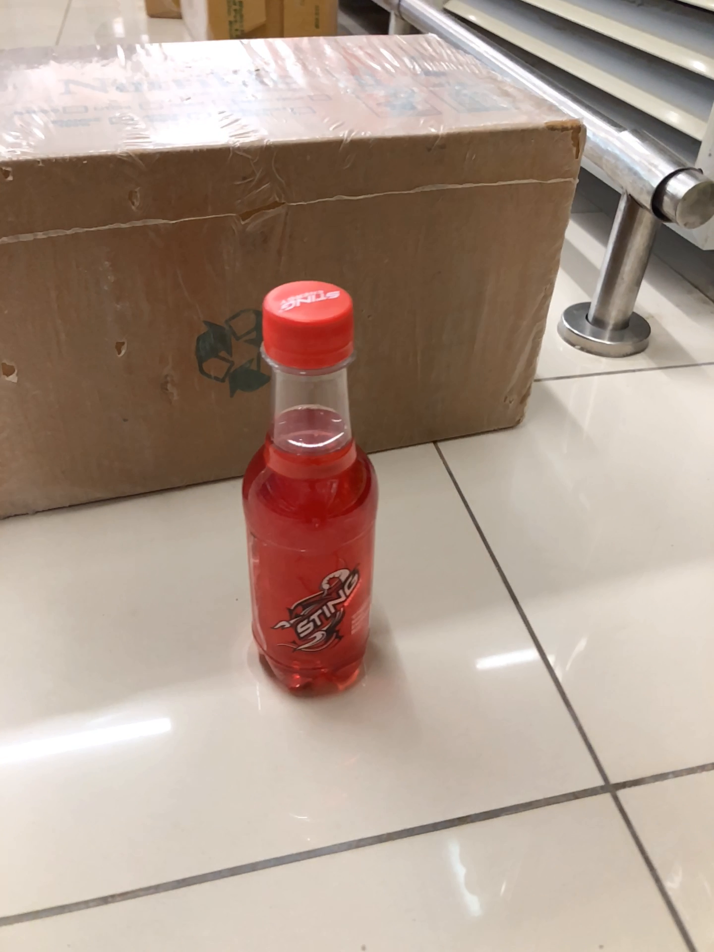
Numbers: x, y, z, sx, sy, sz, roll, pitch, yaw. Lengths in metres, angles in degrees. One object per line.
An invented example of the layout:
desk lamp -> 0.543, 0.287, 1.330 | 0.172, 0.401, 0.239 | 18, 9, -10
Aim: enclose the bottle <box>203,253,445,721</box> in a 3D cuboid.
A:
bottle -> -0.017, 0.011, 0.323 | 0.070, 0.179, 0.070 | 1, 38, -1
